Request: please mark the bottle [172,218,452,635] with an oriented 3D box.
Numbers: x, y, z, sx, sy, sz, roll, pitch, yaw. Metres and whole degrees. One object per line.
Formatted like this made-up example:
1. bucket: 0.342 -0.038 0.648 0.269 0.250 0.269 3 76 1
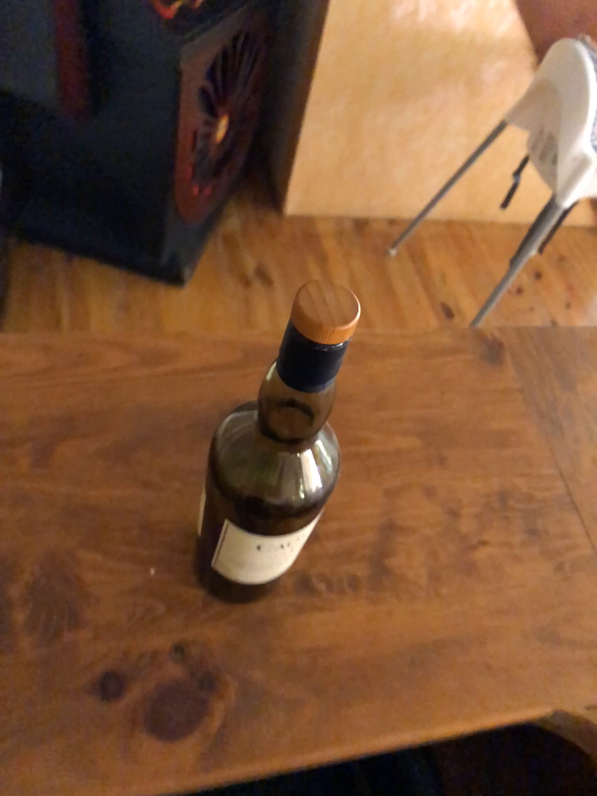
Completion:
1. bottle: -0.014 0.044 0.399 0.070 0.298 0.080 41 55 16
